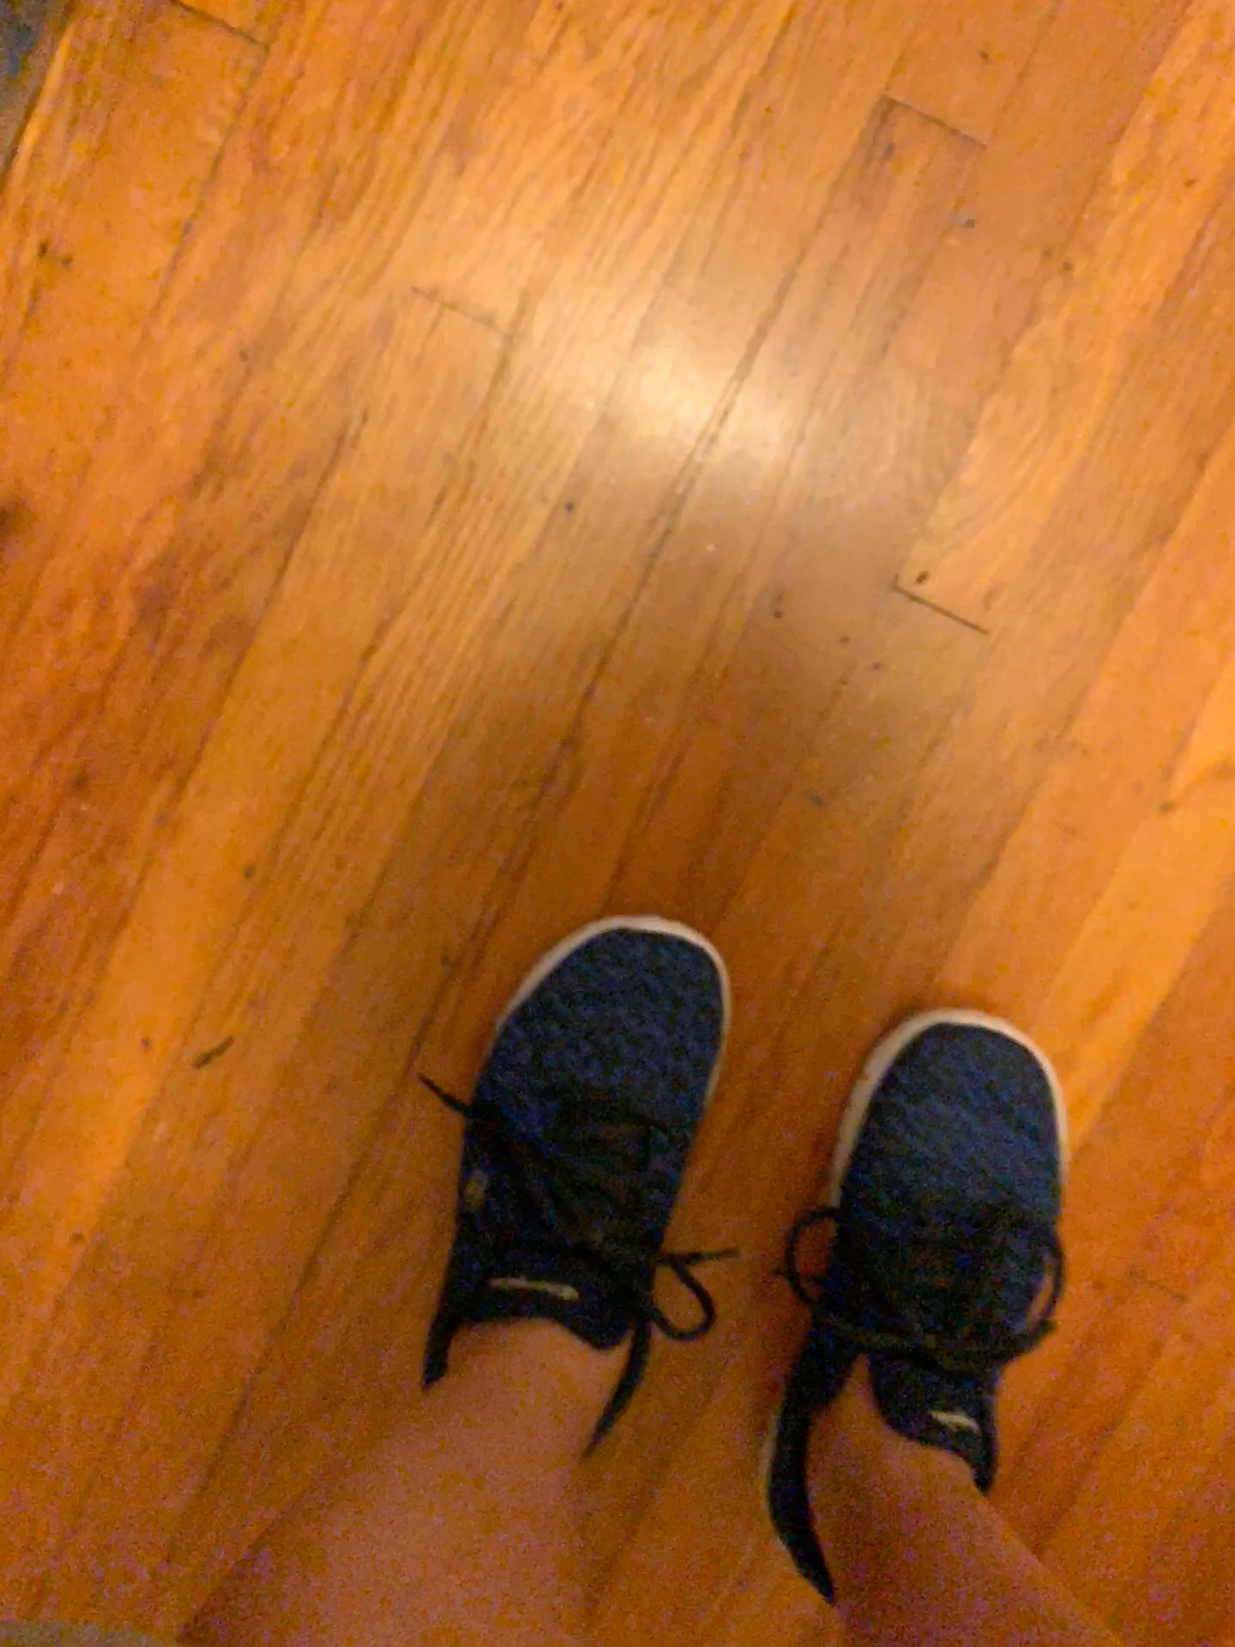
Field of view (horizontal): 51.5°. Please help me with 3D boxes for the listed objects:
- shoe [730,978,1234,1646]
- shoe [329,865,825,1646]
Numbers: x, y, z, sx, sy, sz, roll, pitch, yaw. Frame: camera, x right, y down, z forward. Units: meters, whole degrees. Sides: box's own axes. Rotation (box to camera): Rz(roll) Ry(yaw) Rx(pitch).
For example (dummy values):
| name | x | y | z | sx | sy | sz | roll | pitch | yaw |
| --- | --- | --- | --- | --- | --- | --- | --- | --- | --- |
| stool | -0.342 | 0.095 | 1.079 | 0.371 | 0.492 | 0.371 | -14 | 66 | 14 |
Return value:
| name | x | y | z | sx | sy | sz | roll | pitch | yaw |
| --- | --- | --- | --- | --- | --- | --- | --- | --- | --- |
| shoe | 0.145 | 0.229 | 0.558 | 0.117 | 0.130 | 0.280 | 14 | 96 | 0 |
| shoe | -0.017 | 0.182 | 0.565 | 0.115 | 0.150 | 0.290 | 16 | 96 | -1 |
